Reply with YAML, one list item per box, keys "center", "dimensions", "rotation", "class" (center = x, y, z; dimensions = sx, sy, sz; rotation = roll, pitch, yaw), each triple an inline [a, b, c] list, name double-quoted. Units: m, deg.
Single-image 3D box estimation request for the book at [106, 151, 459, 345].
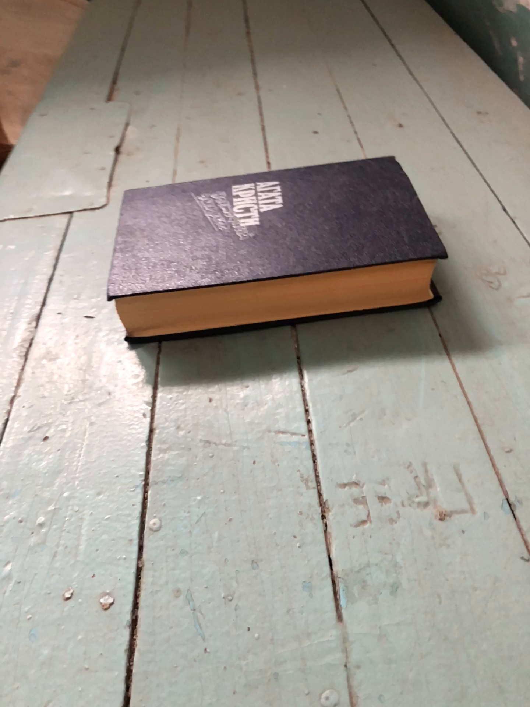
- center: [0.007, -0.080, 0.412]
  dimensions: [0.210, 0.040, 0.138]
  rotation: [-7, 43, 1]
  class: "book"
